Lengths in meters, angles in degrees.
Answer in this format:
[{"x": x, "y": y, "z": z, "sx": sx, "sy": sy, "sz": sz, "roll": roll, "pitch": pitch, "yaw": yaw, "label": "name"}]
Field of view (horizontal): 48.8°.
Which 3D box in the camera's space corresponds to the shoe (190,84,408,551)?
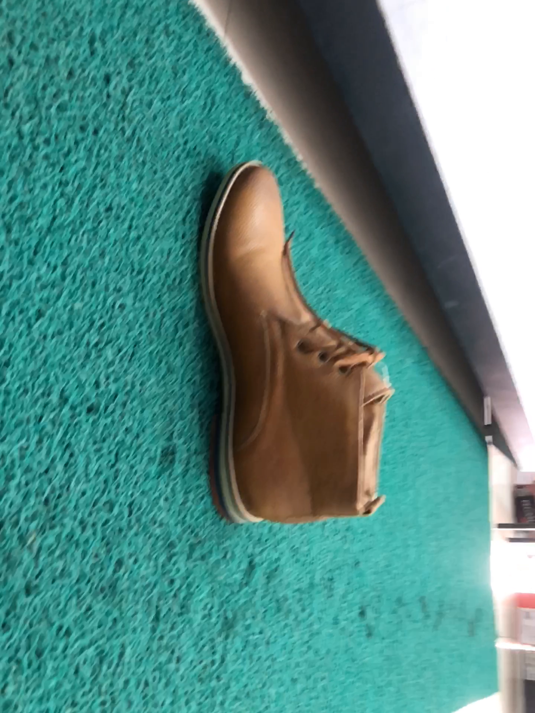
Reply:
[{"x": 0.027, "y": -0.023, "z": 0.466, "sx": 0.121, "sy": 0.109, "sz": 0.310, "roll": 6, "pitch": 79, "yaw": -61, "label": "shoe"}]
